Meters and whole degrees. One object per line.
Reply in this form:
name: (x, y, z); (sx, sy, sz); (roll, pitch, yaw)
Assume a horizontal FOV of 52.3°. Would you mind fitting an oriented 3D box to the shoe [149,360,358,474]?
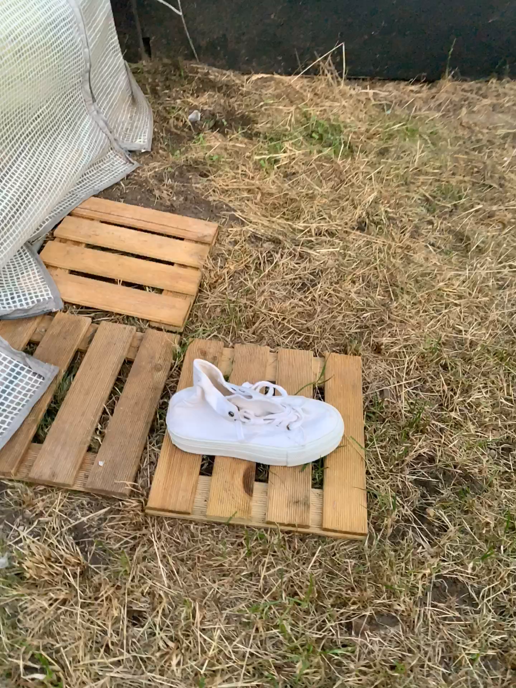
shoe: (-0.002, 0.101, 0.726); (0.260, 0.109, 0.101); (2, 49, 4)
